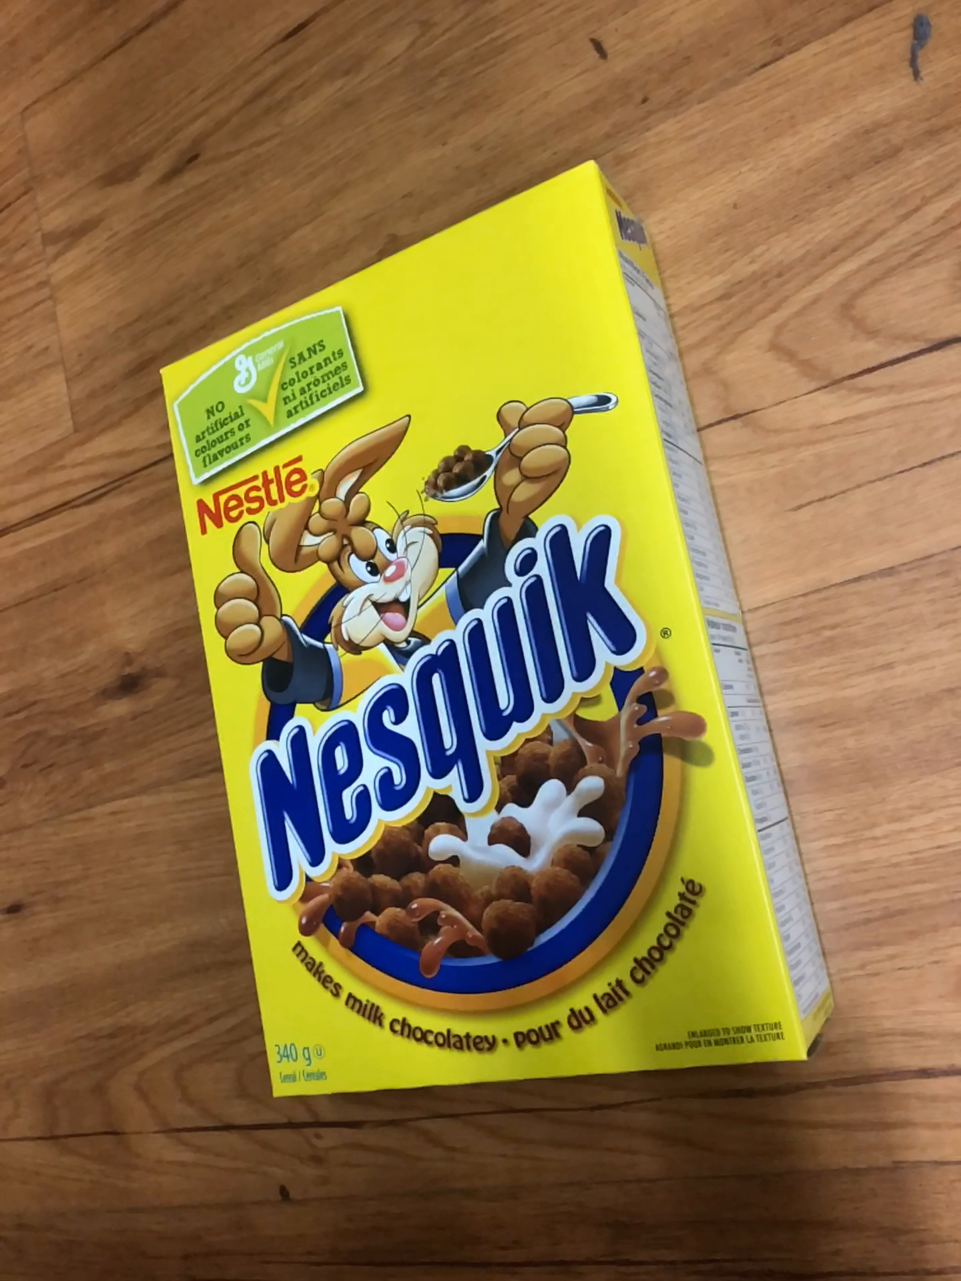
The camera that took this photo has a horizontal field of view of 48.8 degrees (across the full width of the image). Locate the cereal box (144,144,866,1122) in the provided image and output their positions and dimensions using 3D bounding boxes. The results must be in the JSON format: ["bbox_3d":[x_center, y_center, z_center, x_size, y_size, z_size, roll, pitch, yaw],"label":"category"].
[{"bbox_3d":[-0.005,0.009,0.386,0.201,0.060,0.290,-17,80,27],"label":"cereal box"}]
